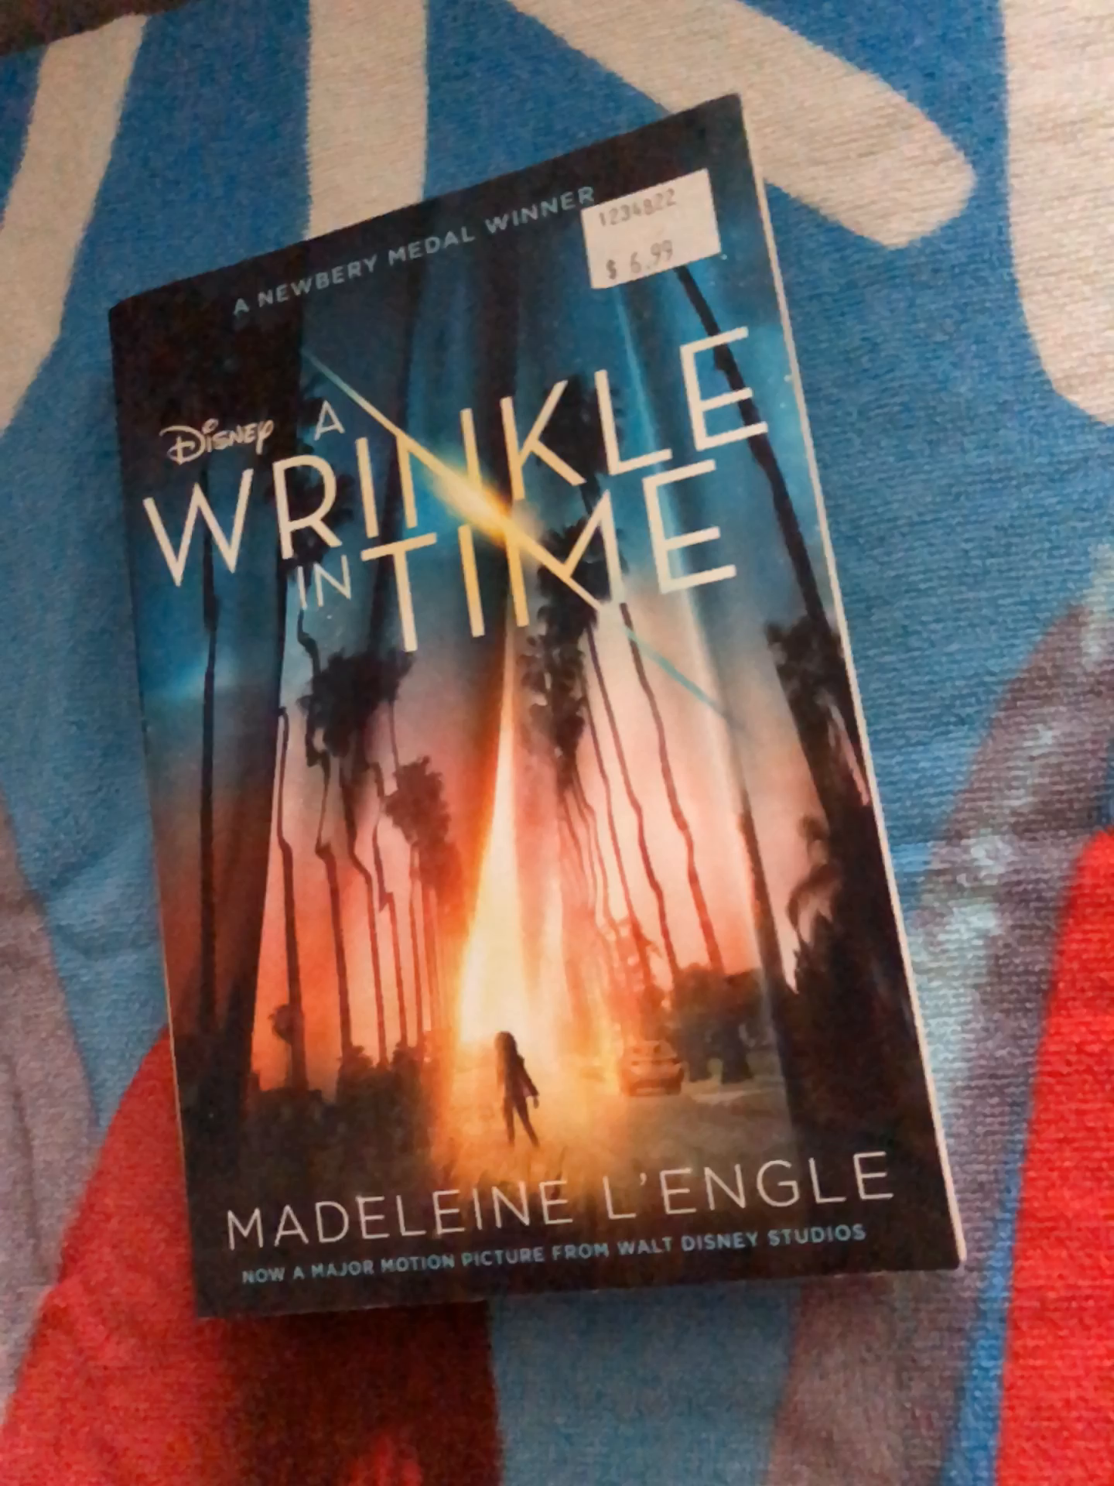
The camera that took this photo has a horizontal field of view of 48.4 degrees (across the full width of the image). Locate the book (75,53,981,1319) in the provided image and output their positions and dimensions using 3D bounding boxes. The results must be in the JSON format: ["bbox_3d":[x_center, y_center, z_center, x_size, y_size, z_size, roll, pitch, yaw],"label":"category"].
[{"bbox_3d":[-0.012,-0.005,0.225,0.138,0.031,0.195,-10,82,17],"label":"book"}]
